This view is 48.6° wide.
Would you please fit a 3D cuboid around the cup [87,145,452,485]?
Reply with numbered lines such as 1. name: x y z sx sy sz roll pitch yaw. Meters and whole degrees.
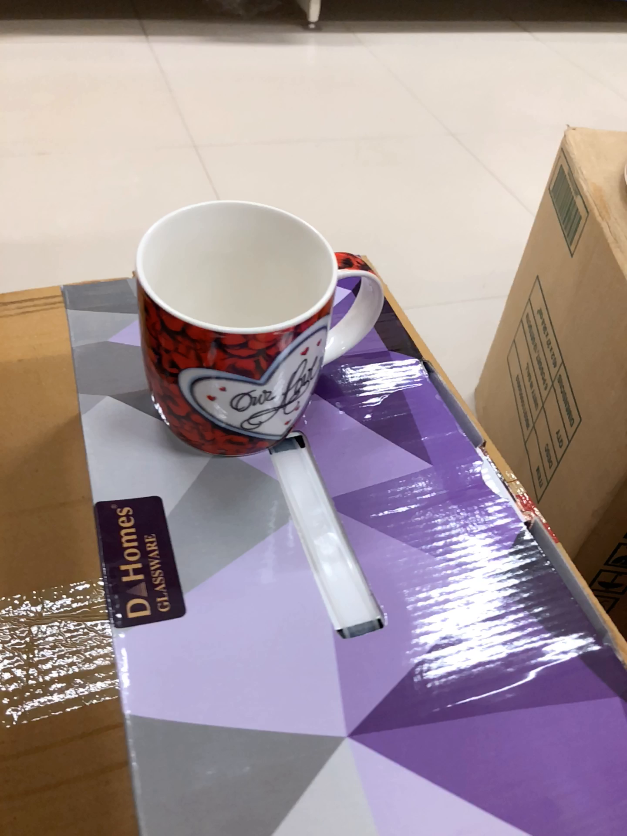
1. cup: -0.023 -0.054 0.334 0.130 0.099 0.090 -20 52 -25
